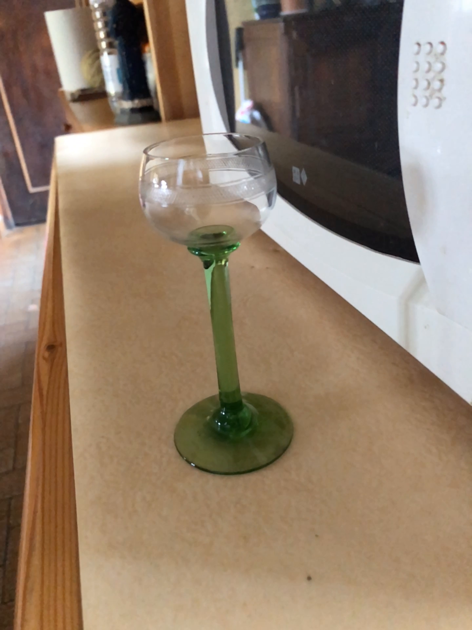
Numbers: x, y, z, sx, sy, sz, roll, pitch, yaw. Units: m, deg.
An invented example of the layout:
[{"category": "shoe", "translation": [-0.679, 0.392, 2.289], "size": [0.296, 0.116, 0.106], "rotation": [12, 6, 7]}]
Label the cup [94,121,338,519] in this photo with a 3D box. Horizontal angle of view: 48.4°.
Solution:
[{"category": "cup", "translation": [-0.003, 0.000, 0.204], "size": [0.060, 0.129, 0.060], "rotation": [-5, 28, 3]}]
